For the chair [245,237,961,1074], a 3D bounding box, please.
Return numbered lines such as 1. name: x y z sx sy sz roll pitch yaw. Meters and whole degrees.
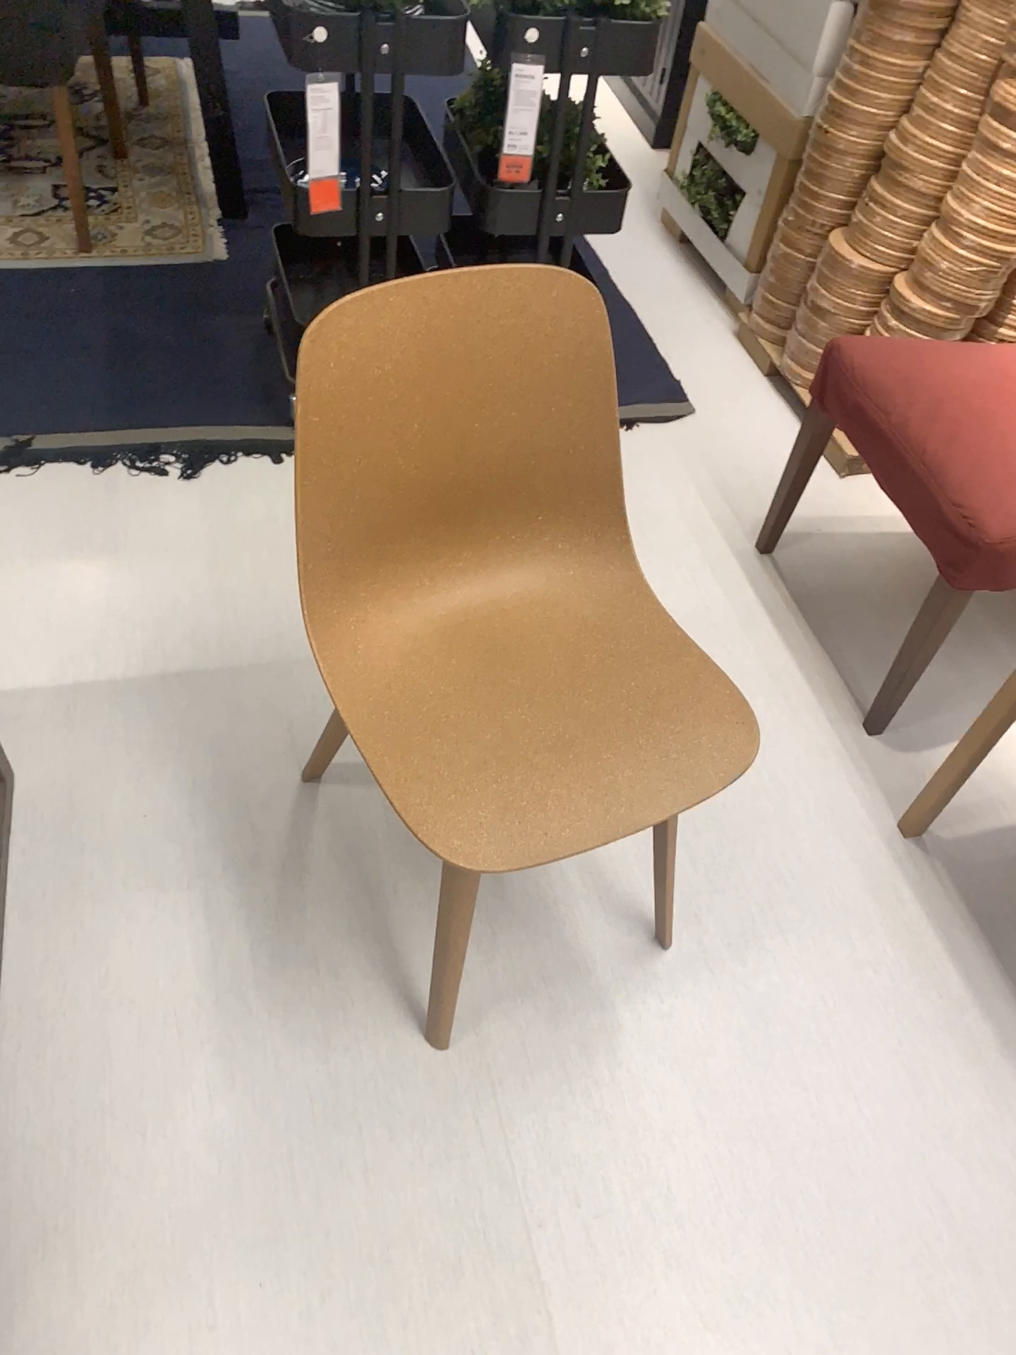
1. chair: 0.023 -0.006 1.187 0.440 0.718 0.521 -17 54 -22
